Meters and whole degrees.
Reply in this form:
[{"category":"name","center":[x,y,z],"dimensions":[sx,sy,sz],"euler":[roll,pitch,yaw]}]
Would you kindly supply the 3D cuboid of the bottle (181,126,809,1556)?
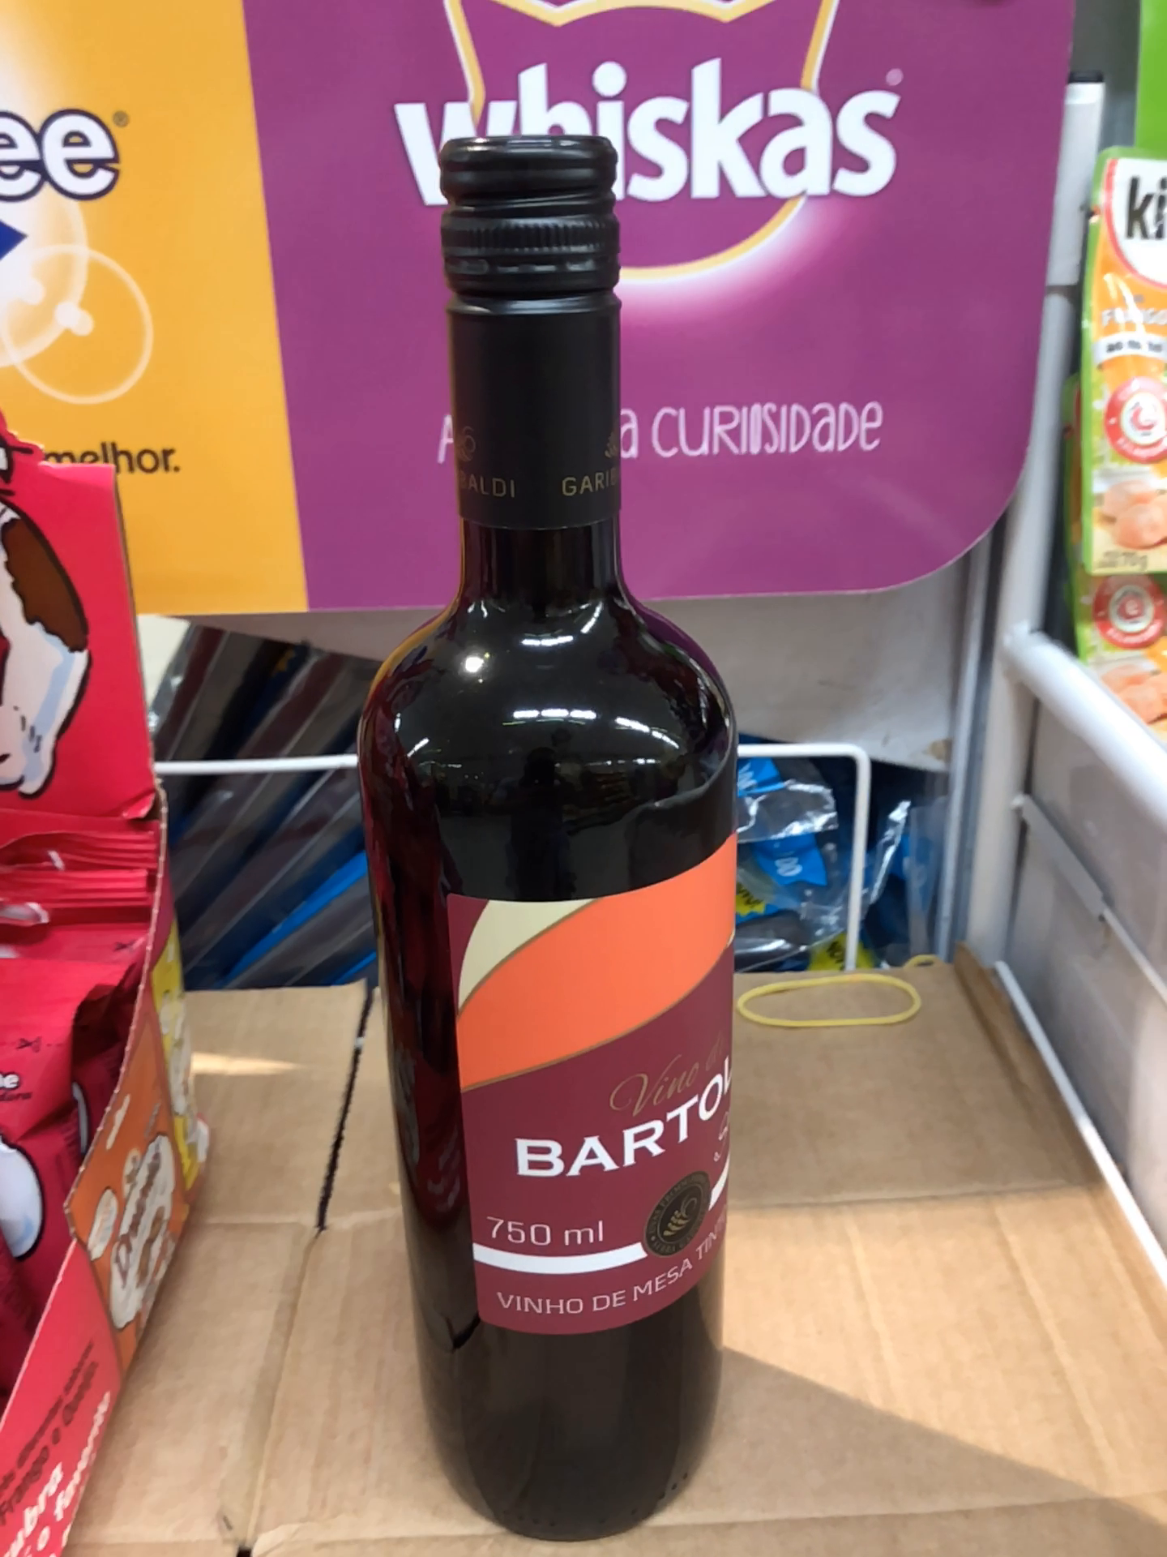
[{"category":"bottle","center":[-0.009,0.033,0.269],"dimensions":[0.080,0.298,0.060],"euler":[-20,30,-34]}]
